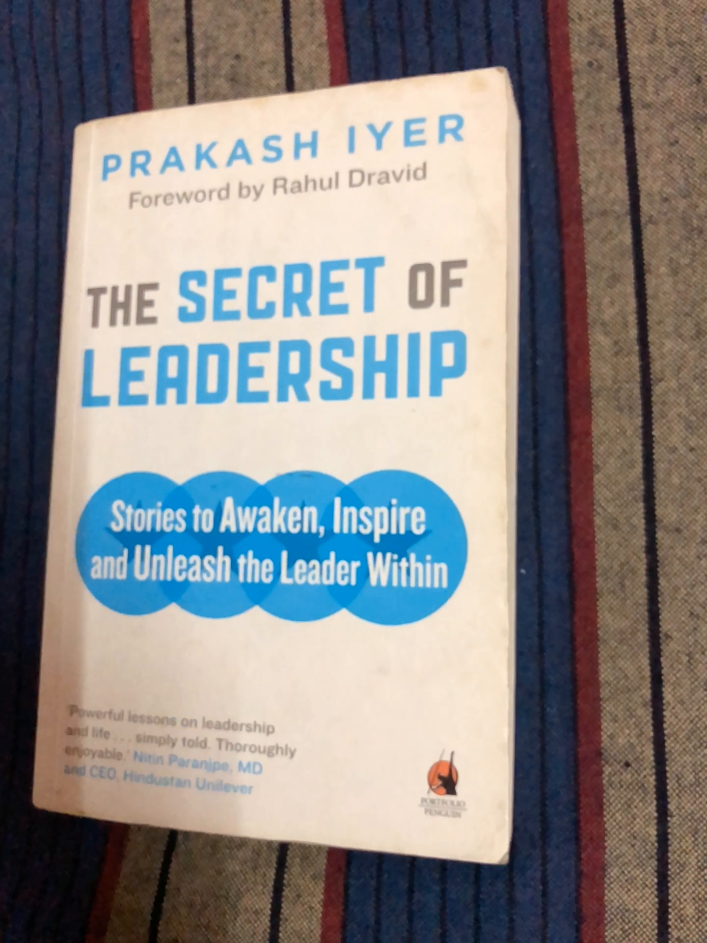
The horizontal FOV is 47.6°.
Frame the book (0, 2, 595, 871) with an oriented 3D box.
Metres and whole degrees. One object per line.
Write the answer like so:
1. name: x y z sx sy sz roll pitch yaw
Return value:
1. book: -0.014 -0.012 0.203 0.140 0.030 0.190 0 83 13
